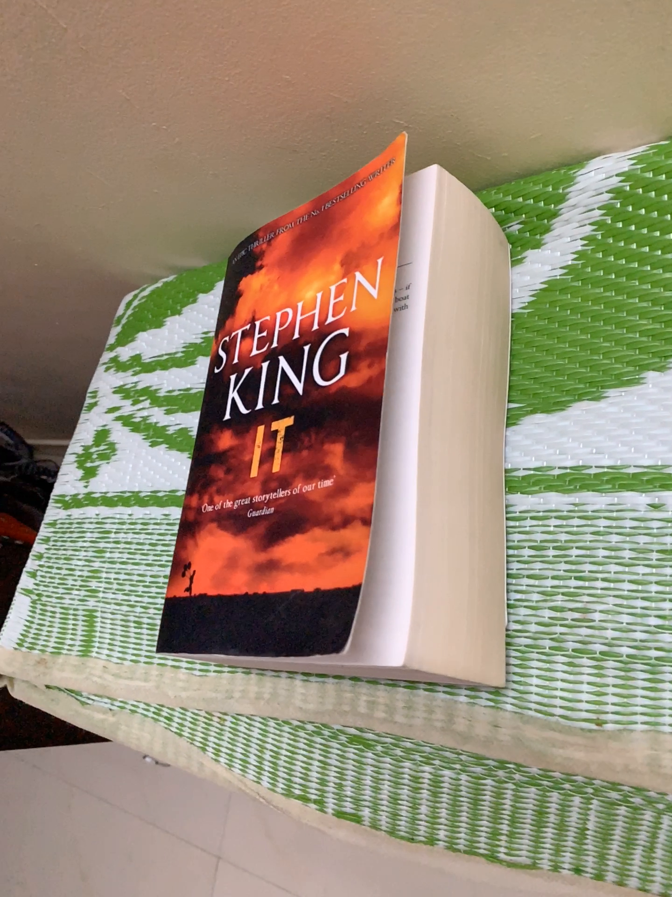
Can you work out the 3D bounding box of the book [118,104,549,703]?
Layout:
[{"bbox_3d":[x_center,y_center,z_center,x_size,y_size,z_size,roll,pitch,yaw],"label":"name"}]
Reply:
[{"bbox_3d":[0.006,-0.014,0.294,0.140,0.070,0.210,-9,61,37],"label":"book"}]
